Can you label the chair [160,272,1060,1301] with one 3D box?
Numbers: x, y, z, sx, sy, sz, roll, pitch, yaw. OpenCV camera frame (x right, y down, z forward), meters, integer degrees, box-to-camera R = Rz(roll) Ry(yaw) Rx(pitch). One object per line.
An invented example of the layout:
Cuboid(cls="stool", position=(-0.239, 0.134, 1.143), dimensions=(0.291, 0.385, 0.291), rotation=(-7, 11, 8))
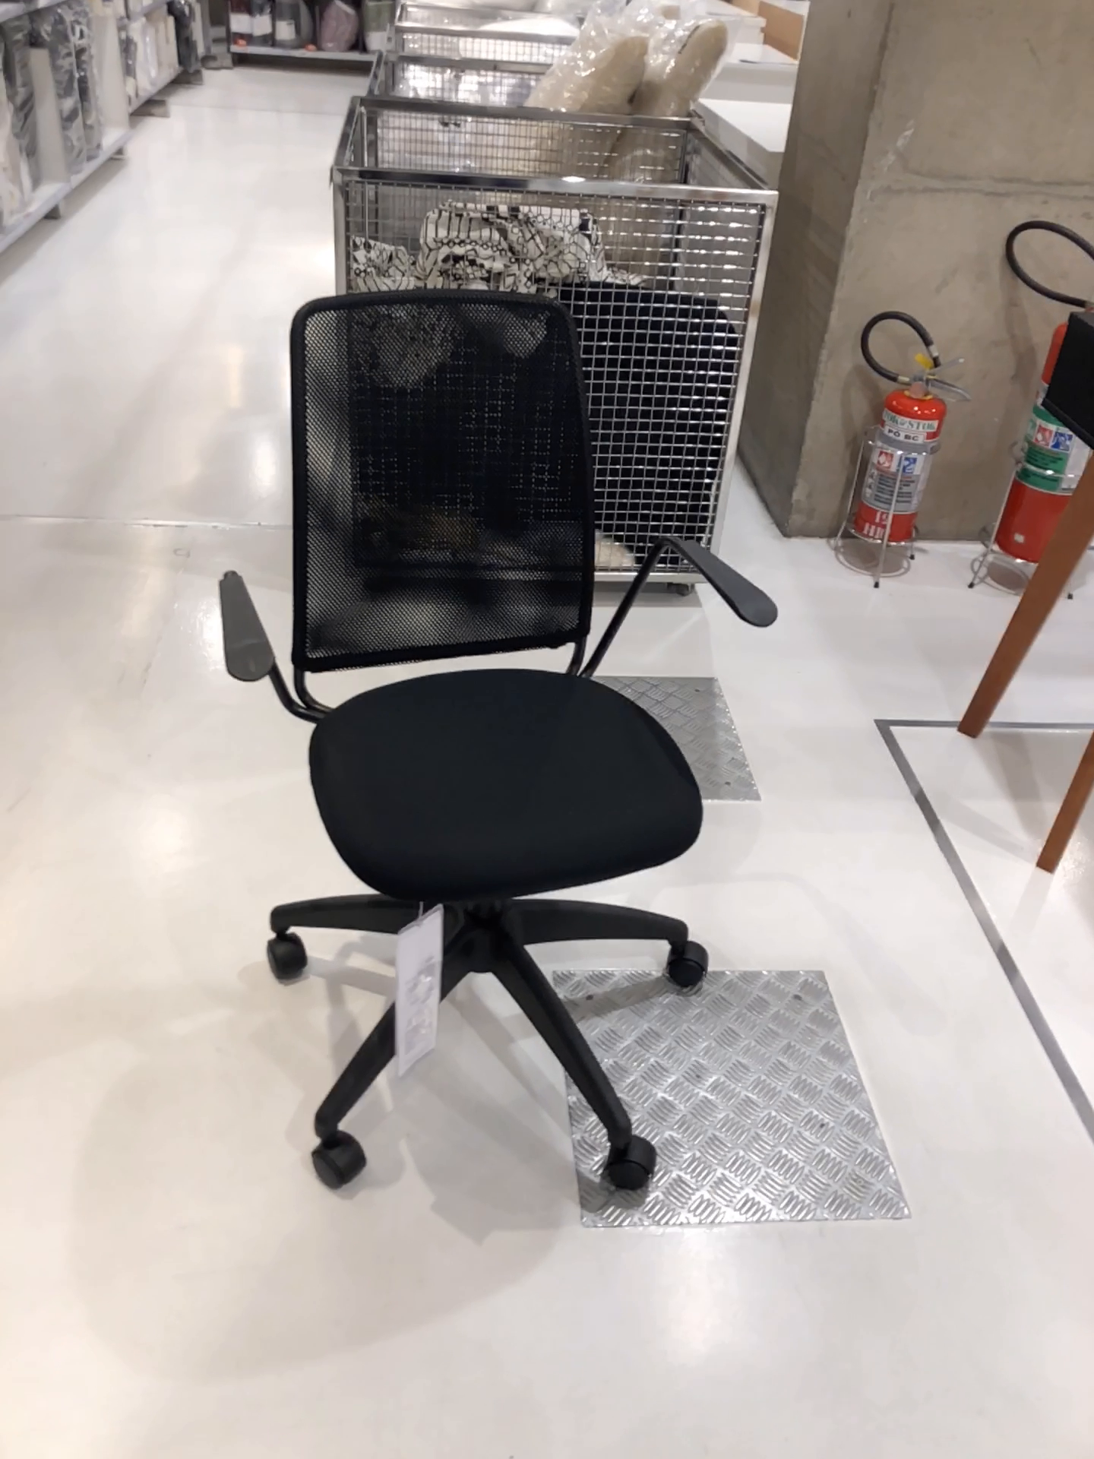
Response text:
Cuboid(cls="chair", position=(-0.030, 0.006, 1.352), dimensions=(0.631, 0.814, 0.694), rotation=(-9, 37, -19))
